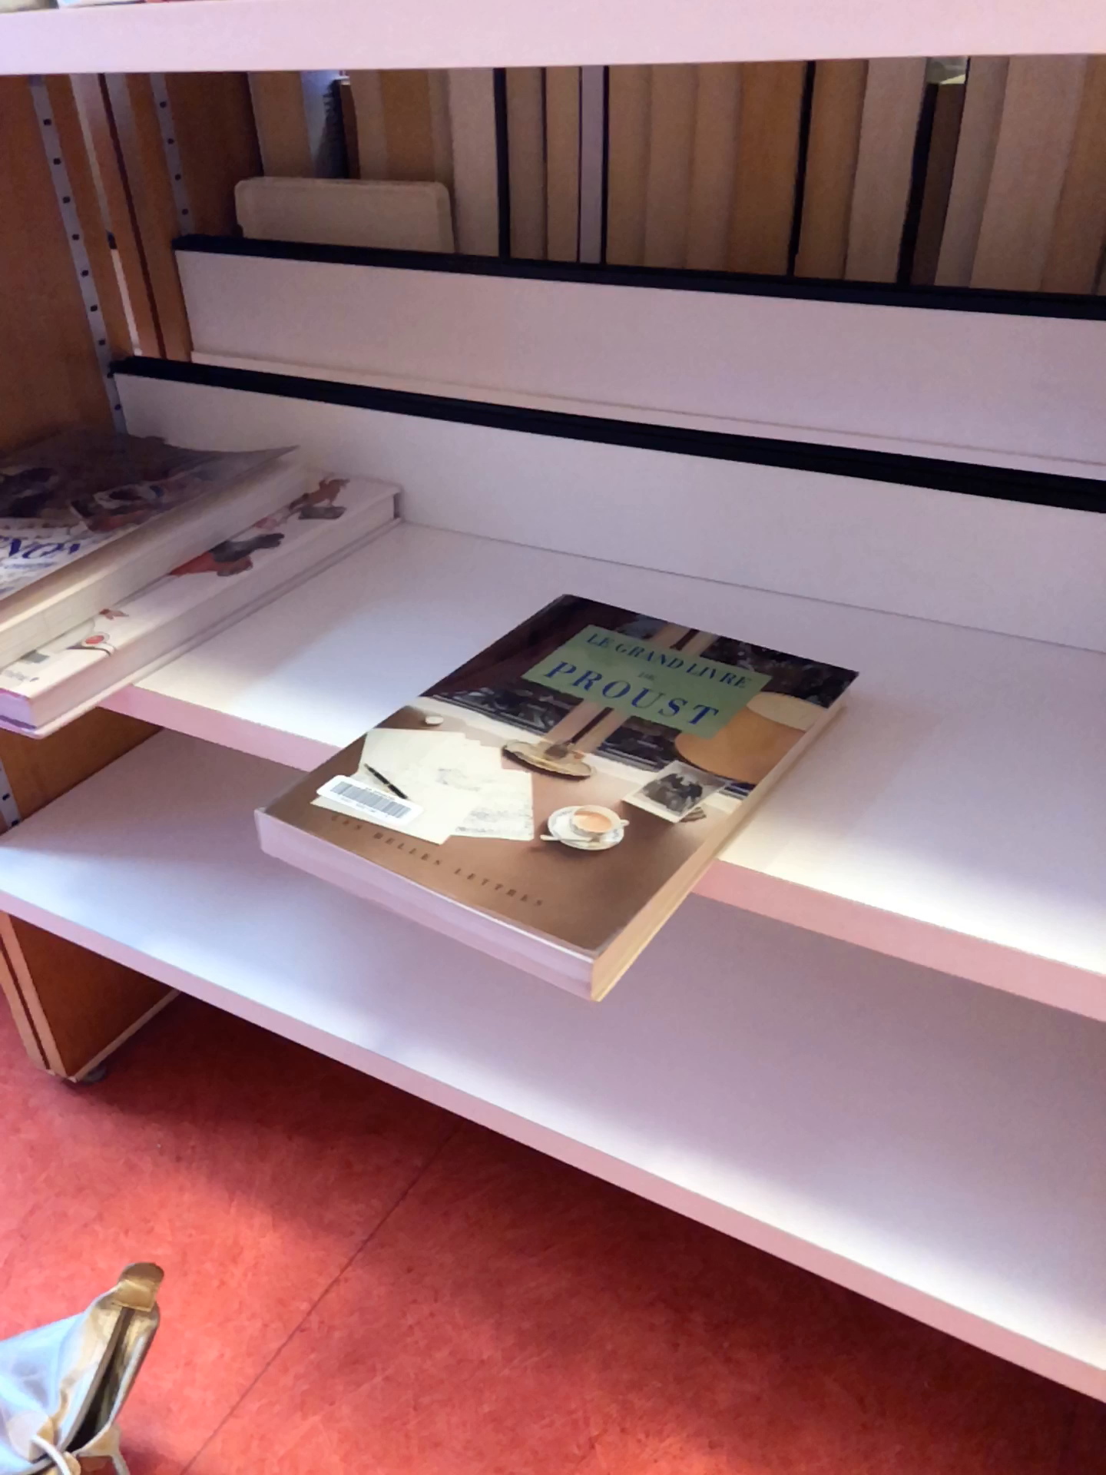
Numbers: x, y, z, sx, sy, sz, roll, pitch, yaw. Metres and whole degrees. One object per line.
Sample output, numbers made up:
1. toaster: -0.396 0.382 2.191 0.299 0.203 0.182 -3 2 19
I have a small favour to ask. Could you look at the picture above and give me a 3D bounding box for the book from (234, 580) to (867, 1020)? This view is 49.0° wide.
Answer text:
1. book: 0.009 0.007 0.562 0.180 0.030 0.246 19 39 31
